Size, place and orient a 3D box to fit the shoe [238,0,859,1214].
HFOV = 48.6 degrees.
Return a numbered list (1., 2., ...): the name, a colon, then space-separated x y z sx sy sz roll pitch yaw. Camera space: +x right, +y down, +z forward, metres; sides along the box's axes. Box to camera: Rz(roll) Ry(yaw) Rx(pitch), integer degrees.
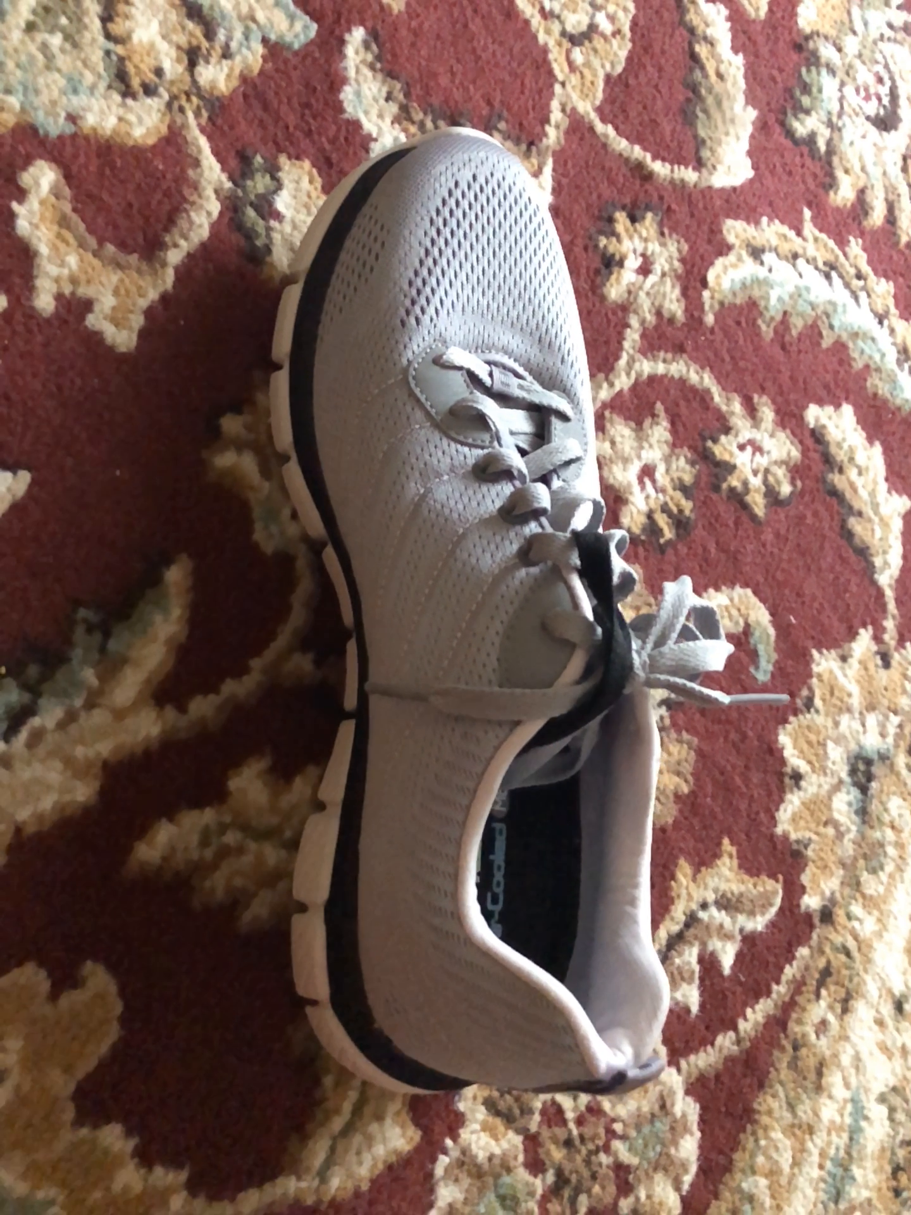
1. shoe: 0.017 -0.011 0.286 0.100 0.130 0.300 7 77 -31
